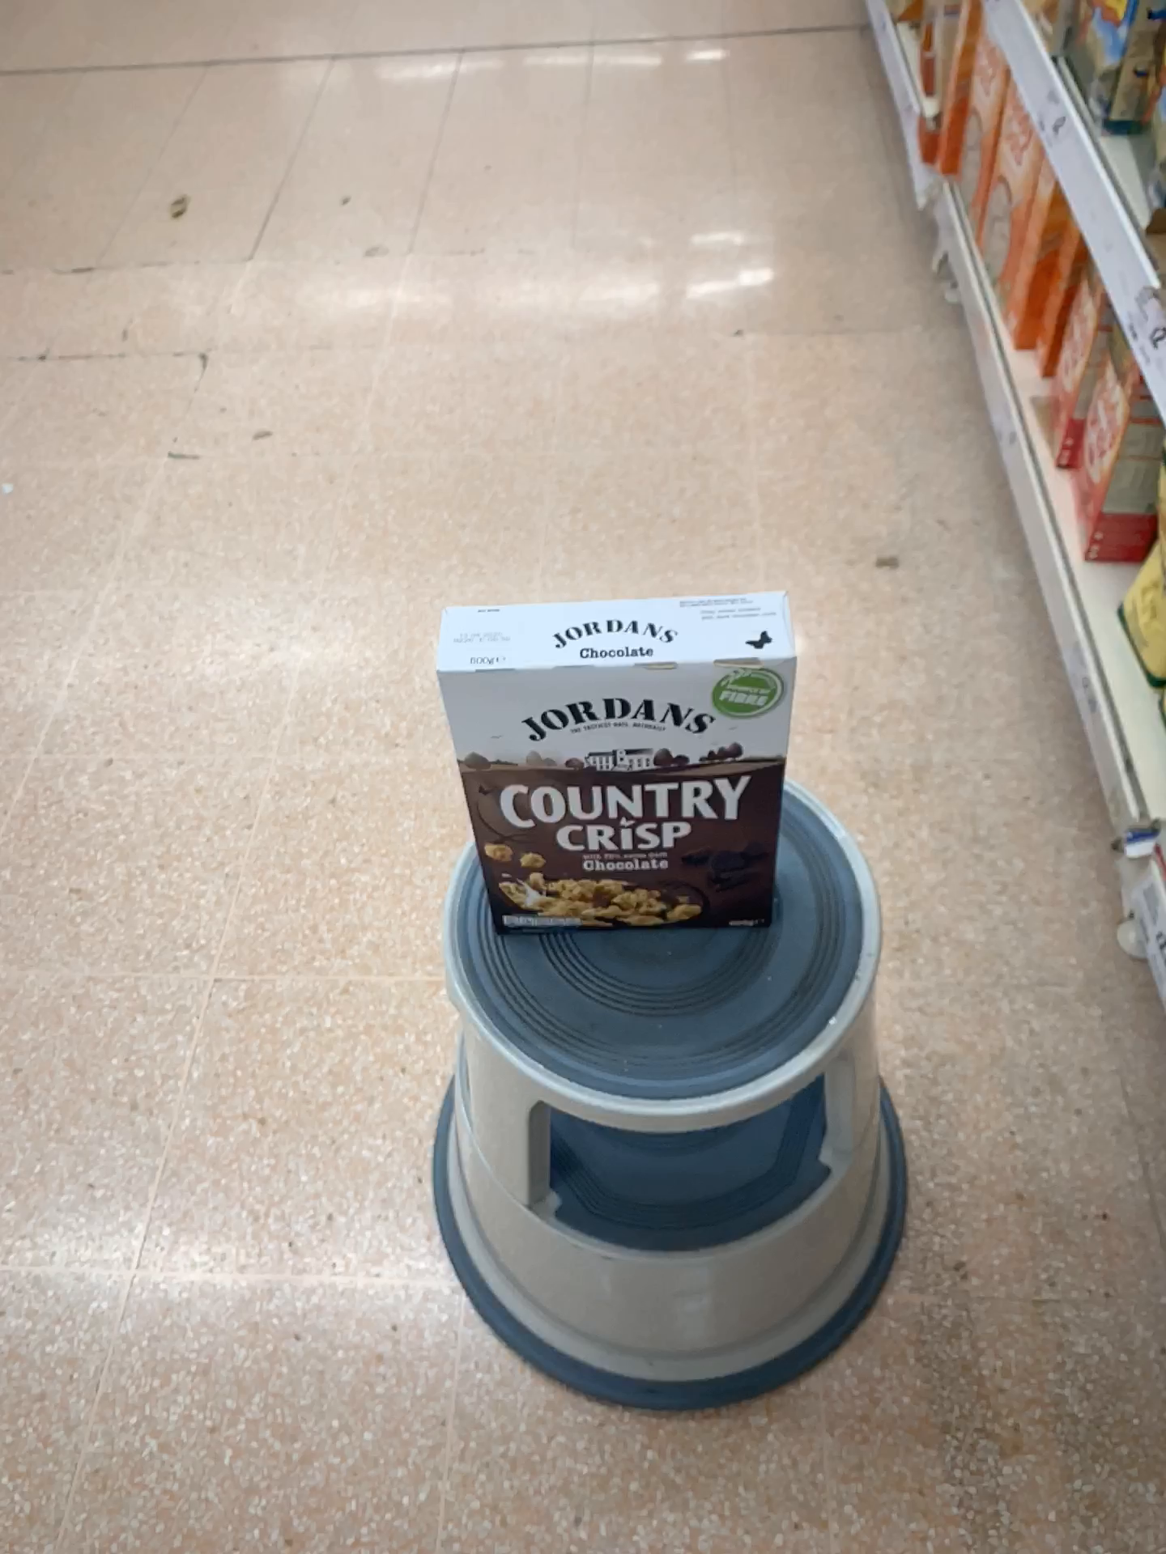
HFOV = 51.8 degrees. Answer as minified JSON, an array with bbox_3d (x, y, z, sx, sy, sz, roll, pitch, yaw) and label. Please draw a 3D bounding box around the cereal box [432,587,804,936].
[{"bbox_3d":[0.024,0.003,0.694,0.180,0.248,0.050,-2,52,3],"label":"cereal box"}]
